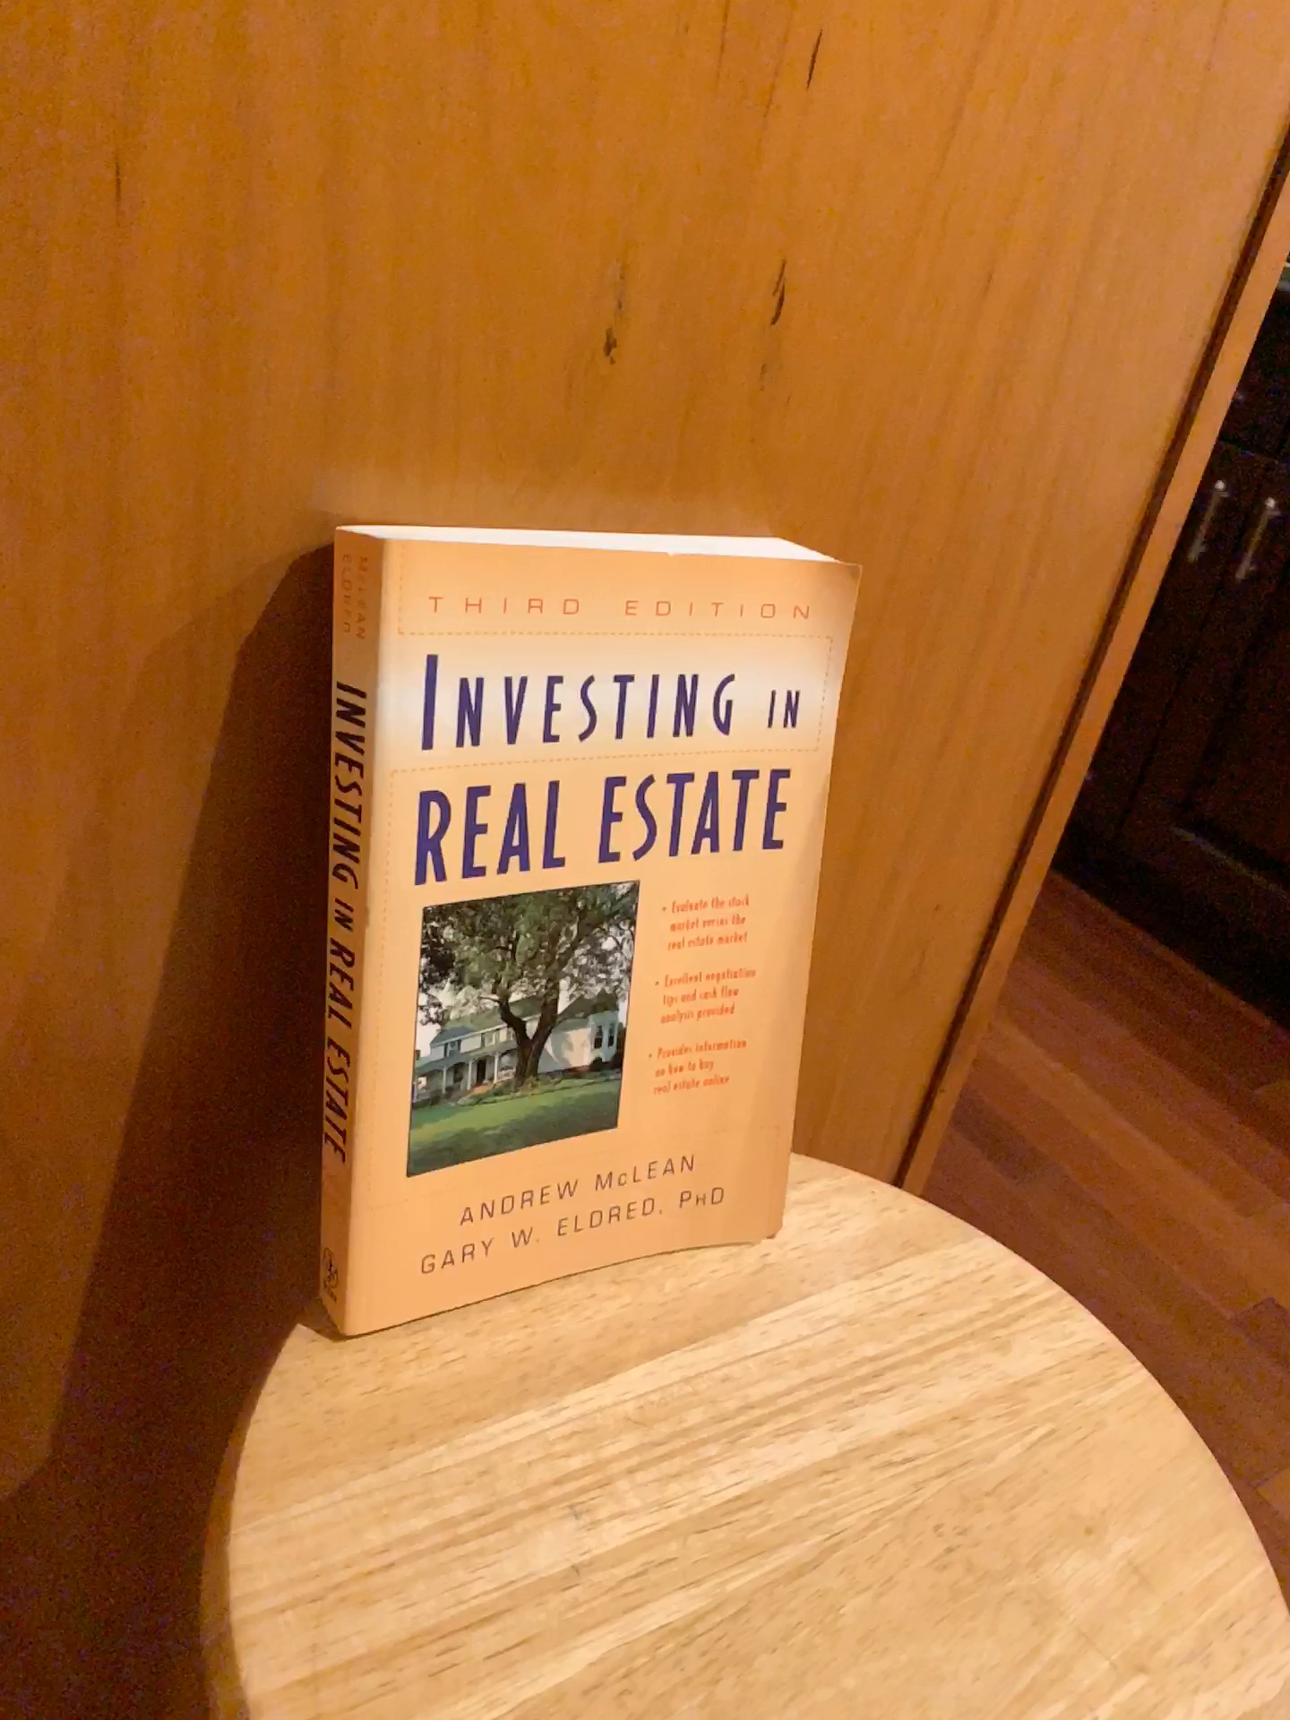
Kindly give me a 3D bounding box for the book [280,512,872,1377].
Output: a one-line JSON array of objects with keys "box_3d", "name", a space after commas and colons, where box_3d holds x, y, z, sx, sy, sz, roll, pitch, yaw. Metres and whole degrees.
[{"box_3d": [-0.022, 0.019, 0.401, 0.160, 0.229, 0.050, -6, 19, -33], "name": "book"}]
